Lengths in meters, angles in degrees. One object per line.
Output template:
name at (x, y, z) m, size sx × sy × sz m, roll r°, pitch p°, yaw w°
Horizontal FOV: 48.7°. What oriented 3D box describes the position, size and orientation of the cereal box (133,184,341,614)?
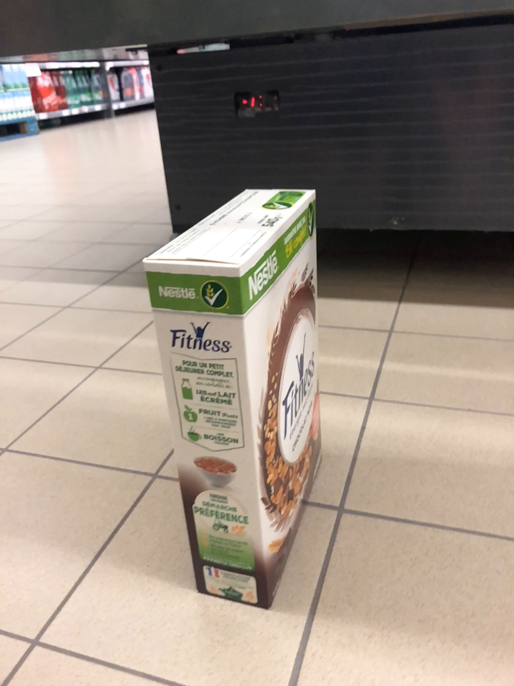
cereal box at (0.008, 0.032, 0.474) m, size 0.080 × 0.279 × 0.211 m, roll 4°, pitch 28°, yaw 19°
